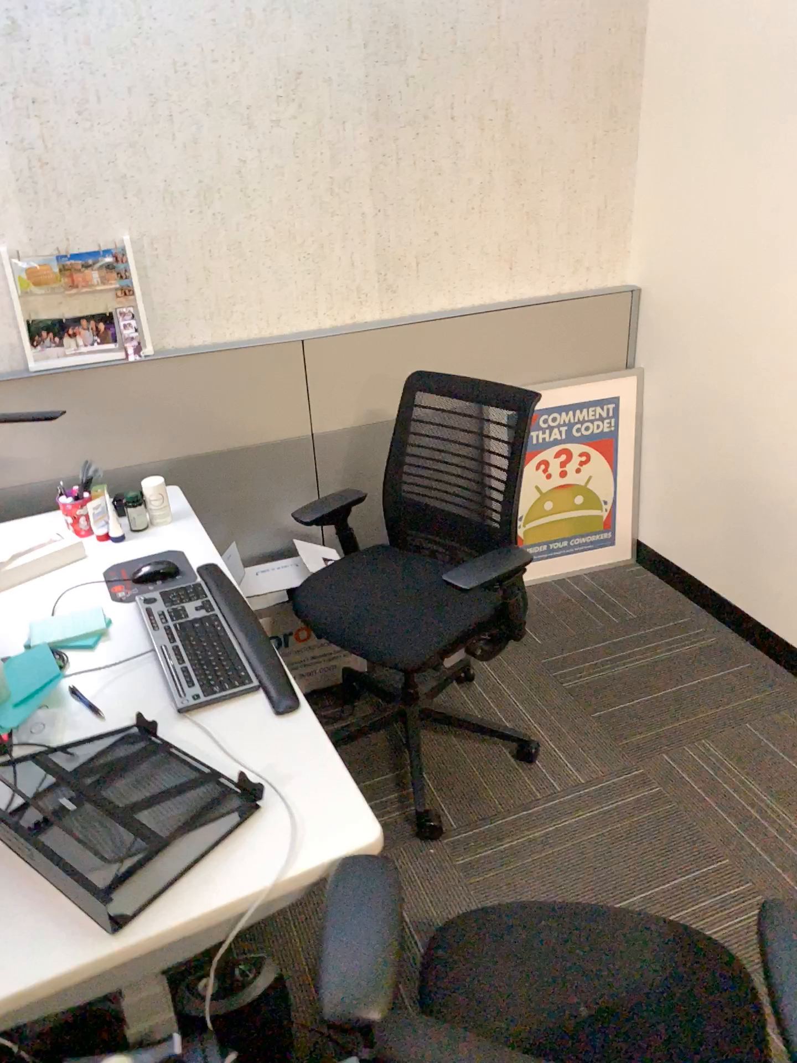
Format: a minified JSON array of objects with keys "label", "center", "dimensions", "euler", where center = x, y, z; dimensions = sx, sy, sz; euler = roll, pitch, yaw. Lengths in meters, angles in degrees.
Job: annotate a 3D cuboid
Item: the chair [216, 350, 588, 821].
[{"label":"chair","center":[0.037,0.091,2.245],"dimensions":[0.673,0.954,0.651],"euler":[19,35,37]}]
